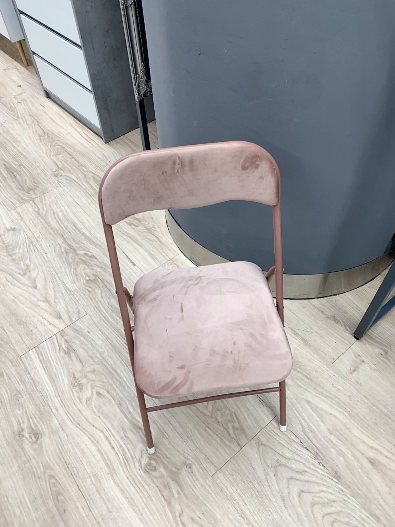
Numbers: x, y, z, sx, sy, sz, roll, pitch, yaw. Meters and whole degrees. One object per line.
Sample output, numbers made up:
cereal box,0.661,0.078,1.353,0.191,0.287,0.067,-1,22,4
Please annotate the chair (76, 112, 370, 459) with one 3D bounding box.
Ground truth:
chair,0.011,0.118,1.073,0.460,0.797,0.482,-9,51,-6
